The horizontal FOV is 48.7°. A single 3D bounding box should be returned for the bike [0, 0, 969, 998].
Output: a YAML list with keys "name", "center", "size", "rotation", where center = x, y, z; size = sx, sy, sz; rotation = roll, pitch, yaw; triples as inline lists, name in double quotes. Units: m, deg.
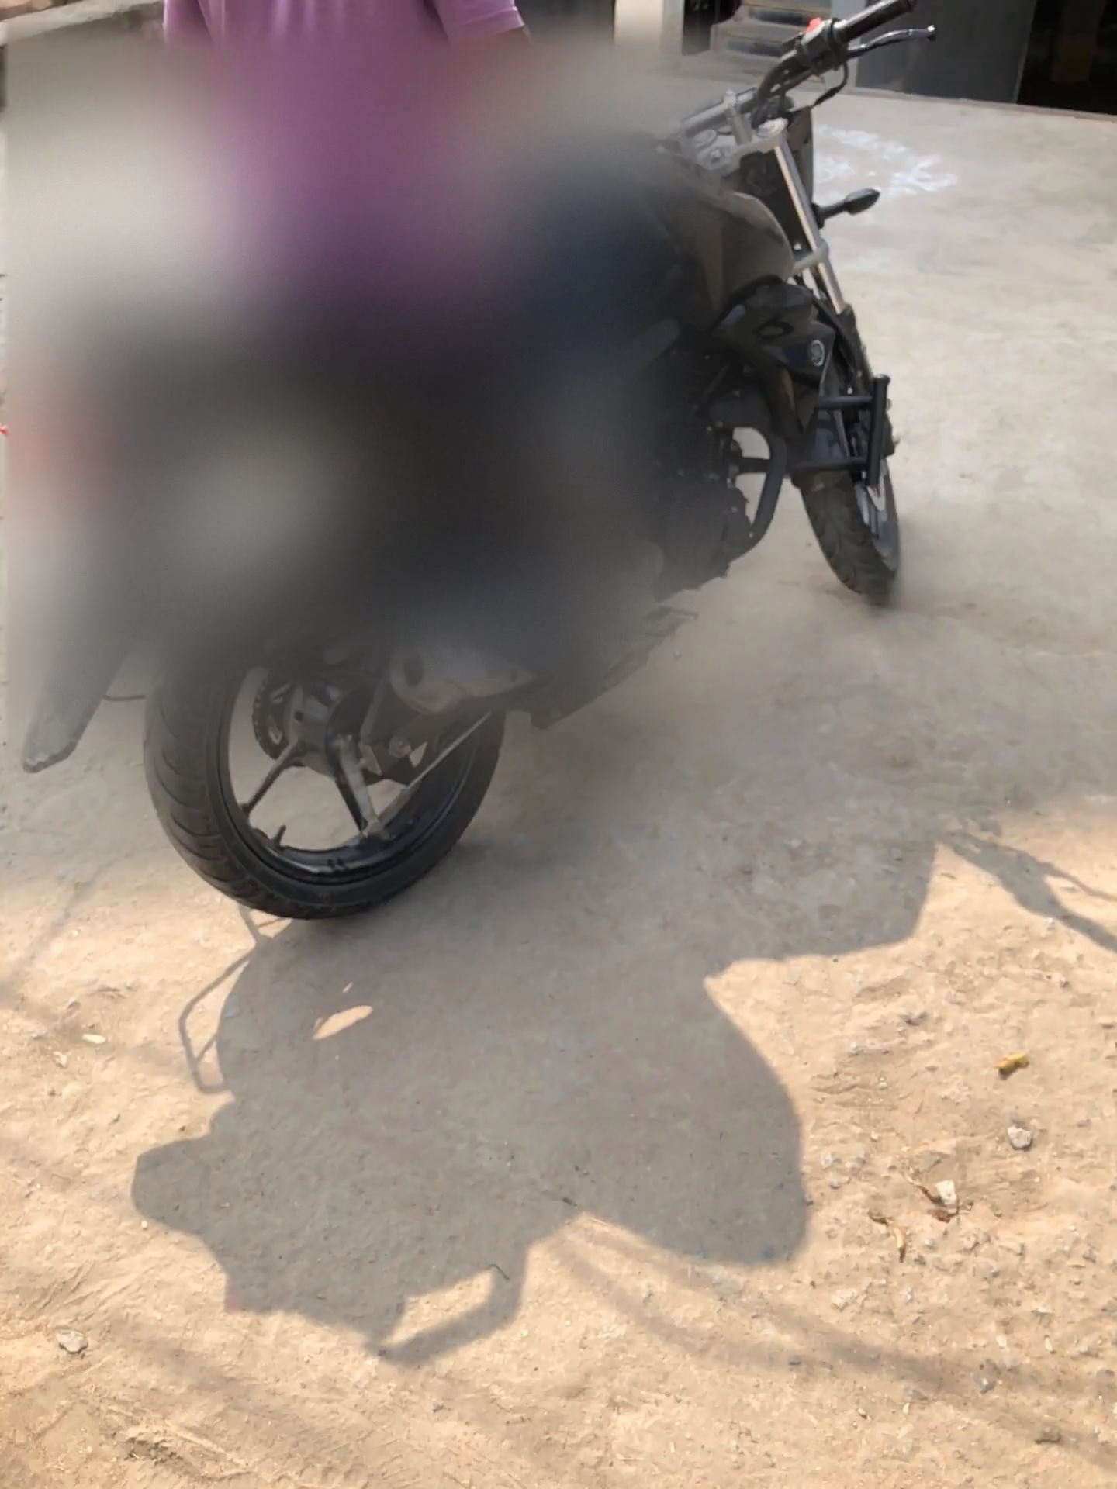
- name: "bike"
  center: [-0.062, -0.650, 1.983]
  size: [0.684, 0.959, 1.696]
  rotation: [24, 46, 28]
